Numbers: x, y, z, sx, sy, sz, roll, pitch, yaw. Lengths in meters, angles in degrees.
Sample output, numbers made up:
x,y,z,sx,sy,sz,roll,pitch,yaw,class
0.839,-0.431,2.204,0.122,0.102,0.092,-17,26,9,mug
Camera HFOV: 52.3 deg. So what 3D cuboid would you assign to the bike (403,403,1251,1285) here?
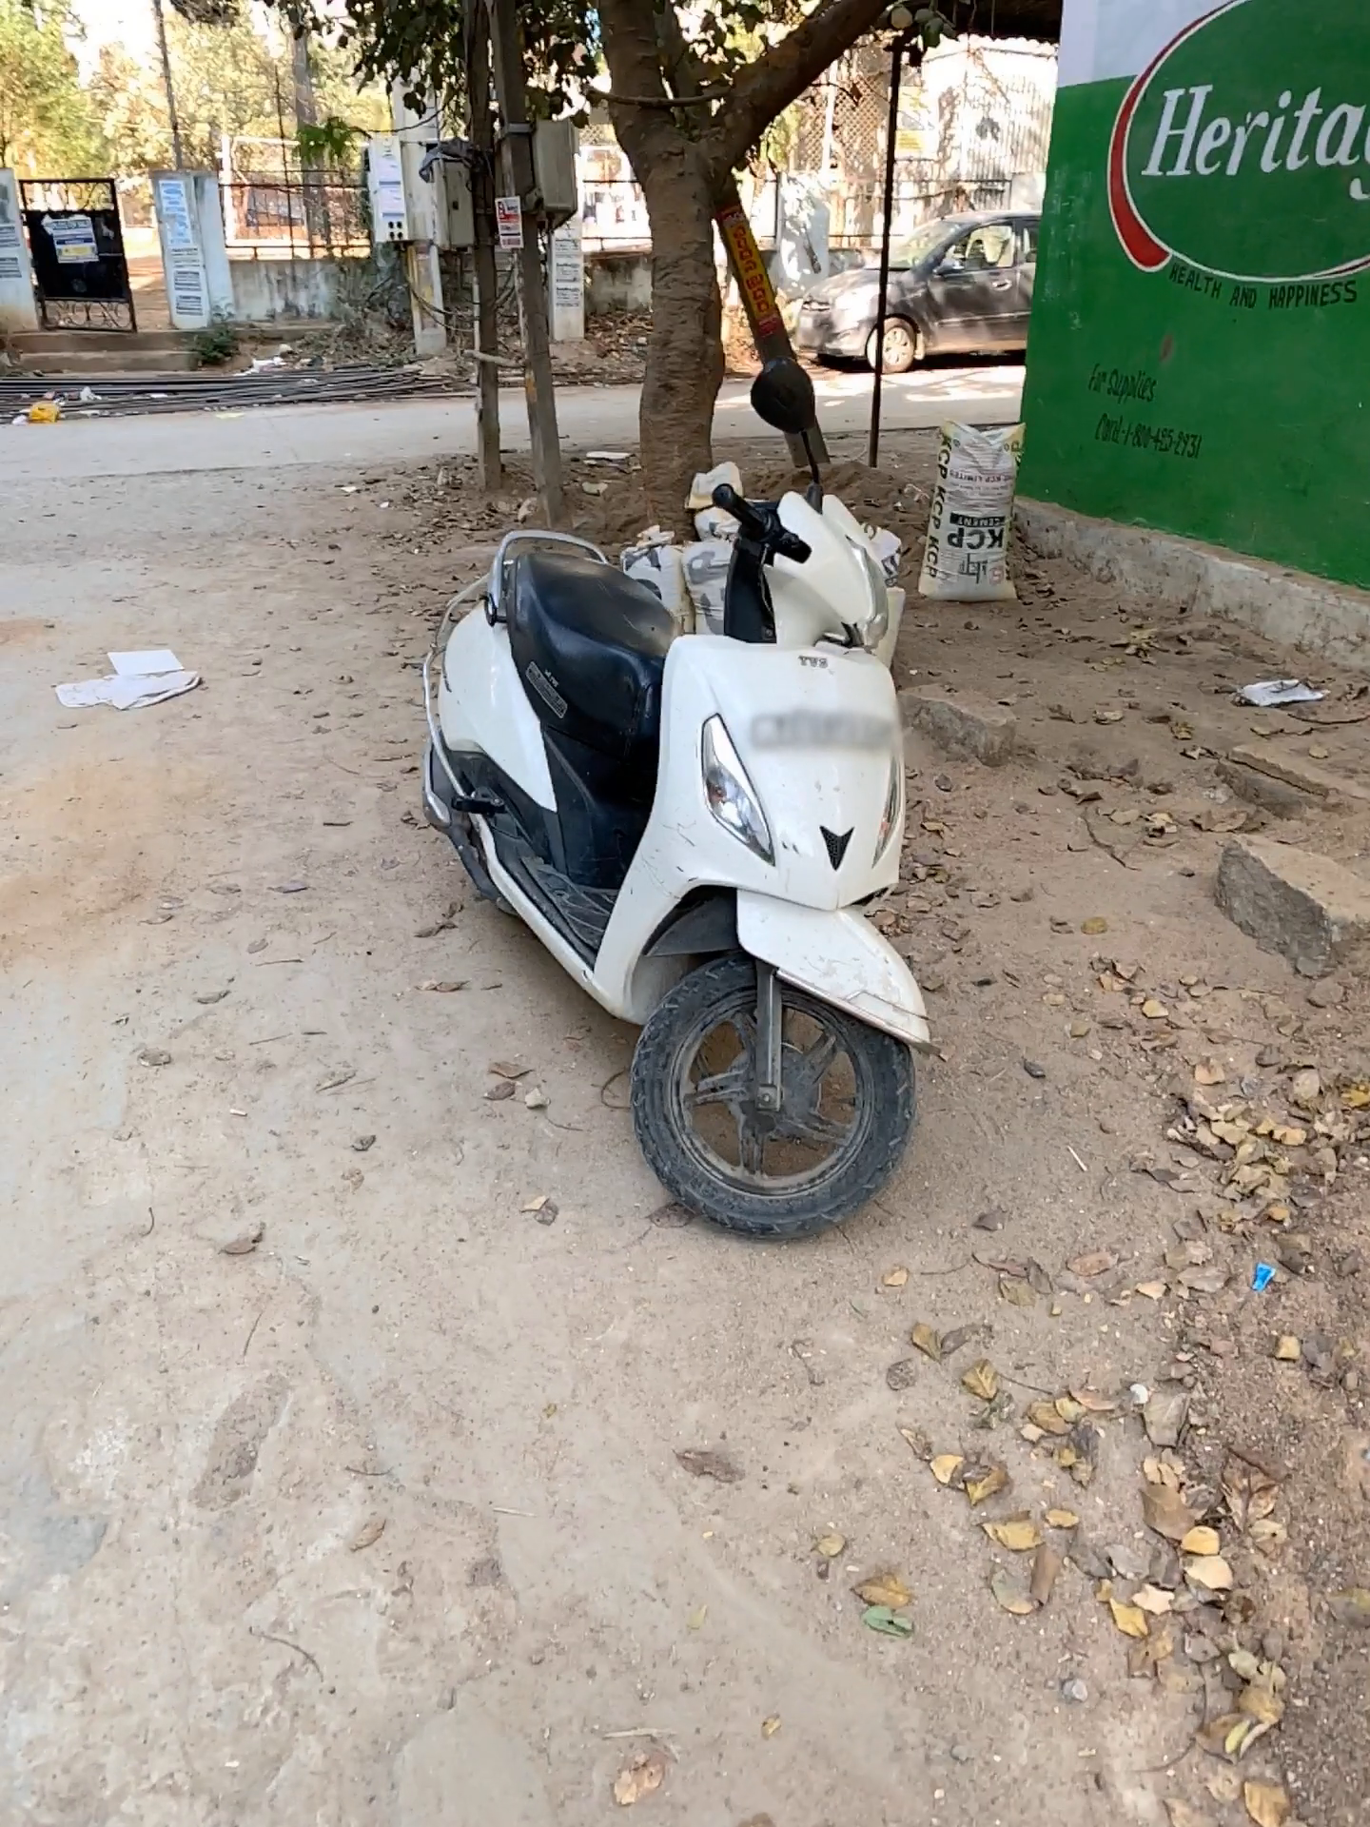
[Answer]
x,y,z,sx,sy,sz,roll,pitch,yaw,class
0.126,-0.281,2.619,0.687,1.066,1.465,-15,31,-29,bike
